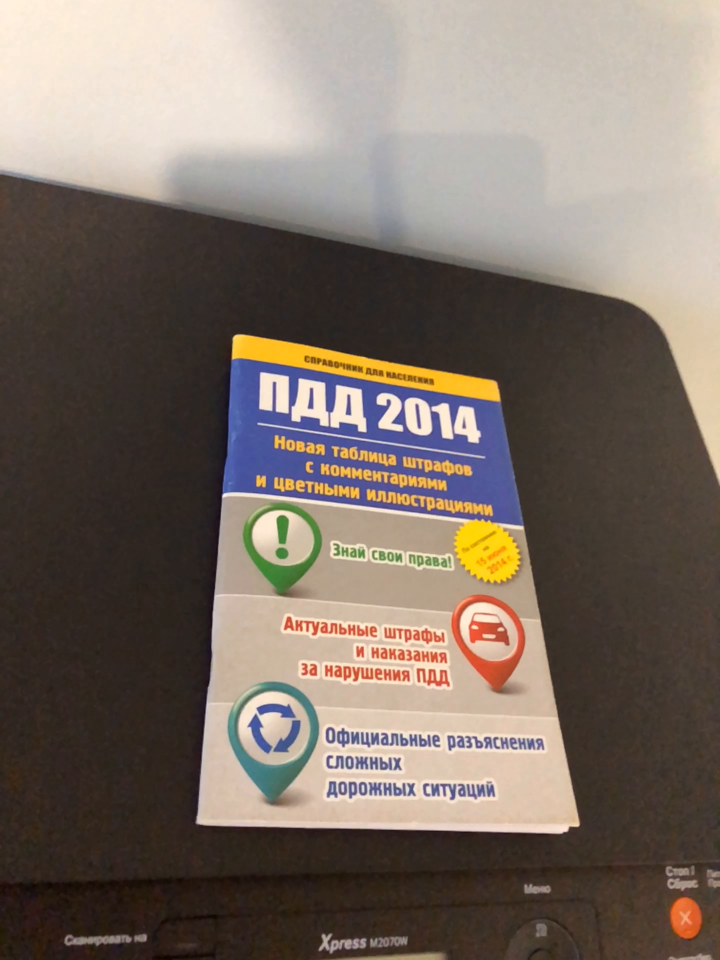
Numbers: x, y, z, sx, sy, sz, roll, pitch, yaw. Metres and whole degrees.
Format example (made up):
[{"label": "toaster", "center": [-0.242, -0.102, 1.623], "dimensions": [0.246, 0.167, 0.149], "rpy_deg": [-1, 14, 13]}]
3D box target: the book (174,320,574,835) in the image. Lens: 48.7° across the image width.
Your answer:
[{"label": "book", "center": [0.004, 0.027, 0.306], "dimensions": [0.130, 0.010, 0.201], "rpy_deg": [8, 56, -16]}]
